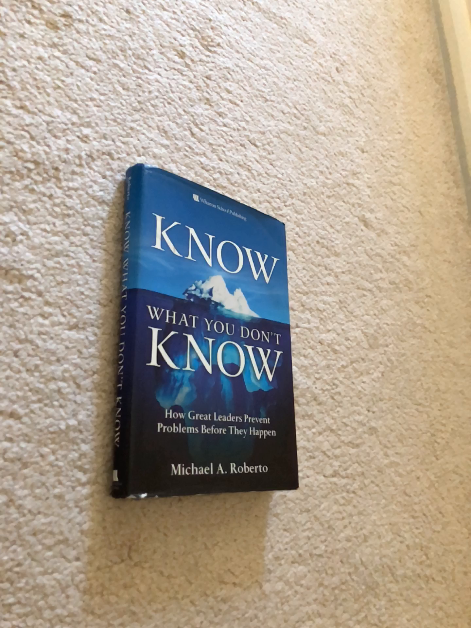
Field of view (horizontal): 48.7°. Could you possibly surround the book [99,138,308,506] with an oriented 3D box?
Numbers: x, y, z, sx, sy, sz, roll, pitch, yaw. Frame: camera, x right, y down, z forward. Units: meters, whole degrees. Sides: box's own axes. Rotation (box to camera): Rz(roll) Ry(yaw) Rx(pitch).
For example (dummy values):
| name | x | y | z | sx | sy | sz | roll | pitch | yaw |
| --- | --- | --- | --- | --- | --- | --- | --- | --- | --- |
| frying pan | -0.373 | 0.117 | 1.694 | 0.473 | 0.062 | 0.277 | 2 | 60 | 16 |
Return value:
| name | x | y | z | sx | sy | sz | roll | pitch | yaw |
| --- | --- | --- | --- | --- | --- | --- | --- | --- | --- |
| book | -0.016 | 0.011 | 0.393 | 0.161 | 0.034 | 0.240 | 14 | 68 | -42 |
